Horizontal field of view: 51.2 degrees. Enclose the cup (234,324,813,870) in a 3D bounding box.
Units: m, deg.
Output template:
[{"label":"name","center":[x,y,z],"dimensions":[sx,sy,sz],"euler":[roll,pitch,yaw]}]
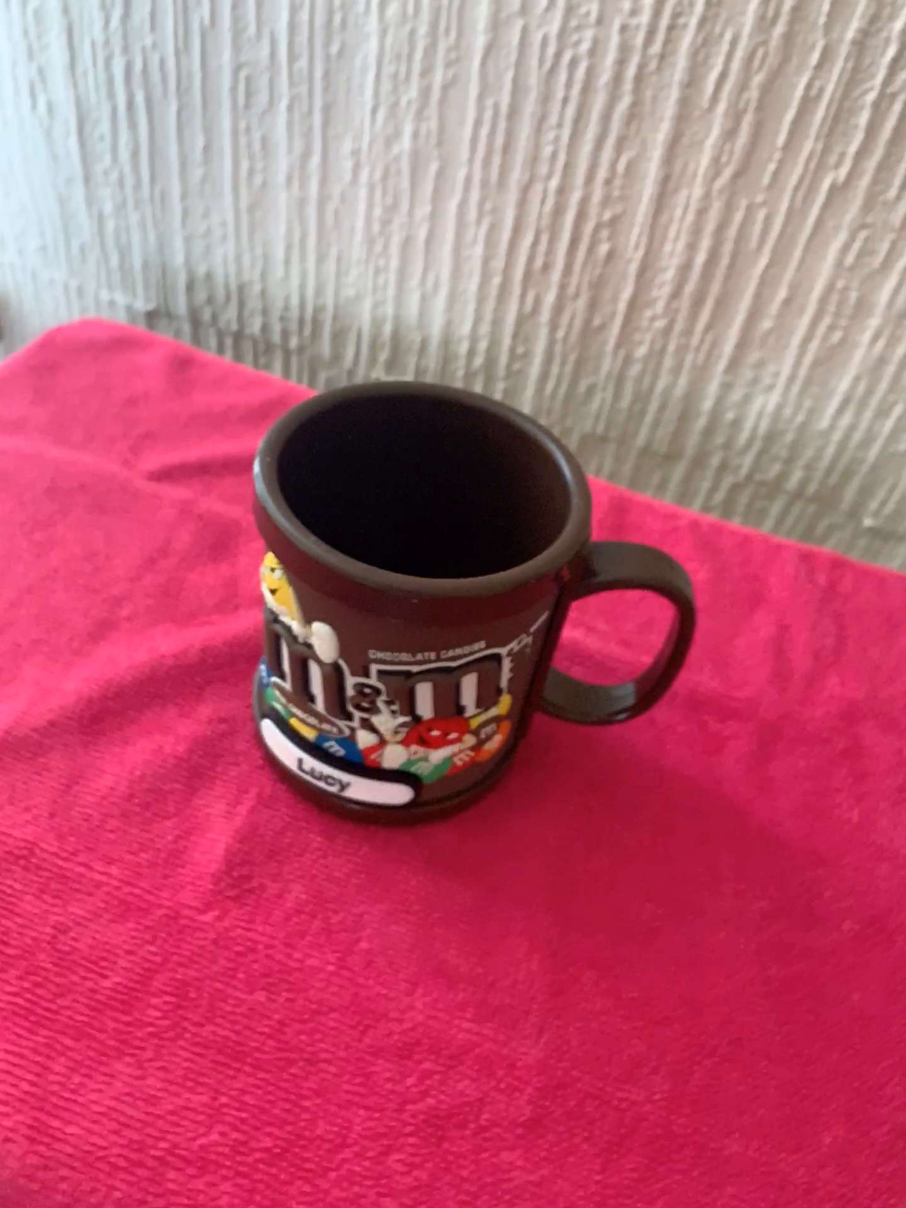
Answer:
[{"label":"cup","center":[0.011,-0.001,0.260],"dimensions":[0.120,0.099,0.091],"euler":[8,44,-3]}]
